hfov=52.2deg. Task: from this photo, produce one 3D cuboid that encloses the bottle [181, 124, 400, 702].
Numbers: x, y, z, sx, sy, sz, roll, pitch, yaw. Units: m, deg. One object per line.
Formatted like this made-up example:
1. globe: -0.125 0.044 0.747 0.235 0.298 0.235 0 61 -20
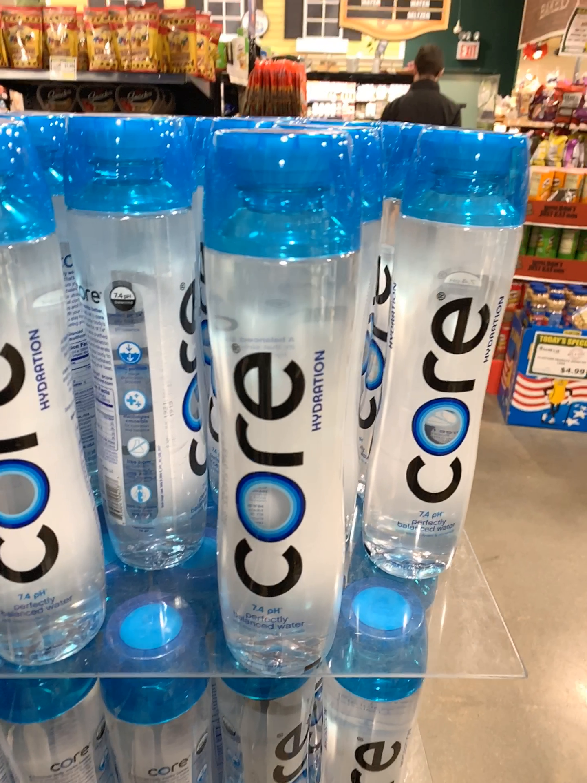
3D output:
1. bottle: 0.000 0.018 0.316 0.080 0.289 0.090 4 24 6
